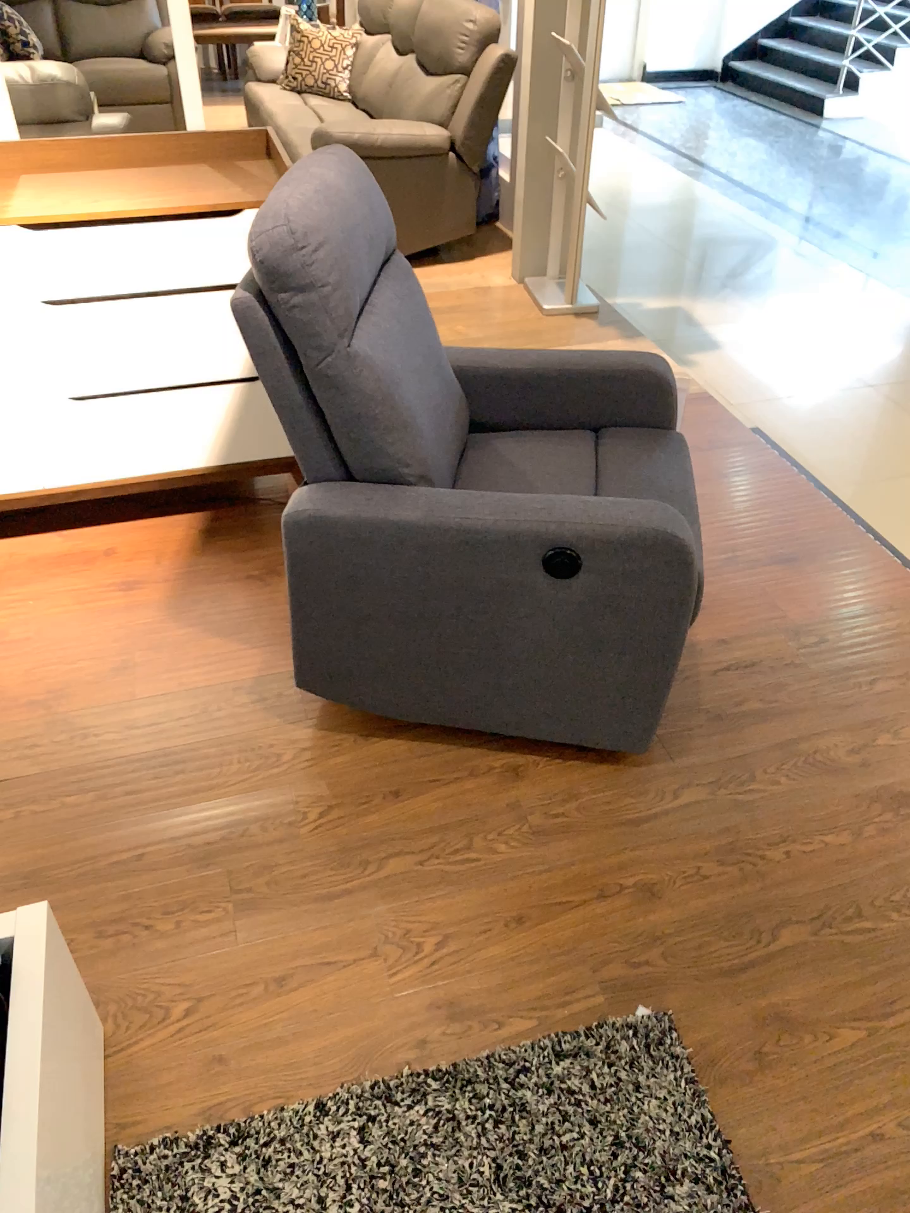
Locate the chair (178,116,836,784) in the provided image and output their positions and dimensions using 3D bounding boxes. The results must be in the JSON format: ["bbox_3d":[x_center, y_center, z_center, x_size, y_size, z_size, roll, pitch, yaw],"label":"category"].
[{"bbox_3d":[0.101,-0.355,1.905,0.880,0.966,0.934,4,39,4],"label":"chair"}]
